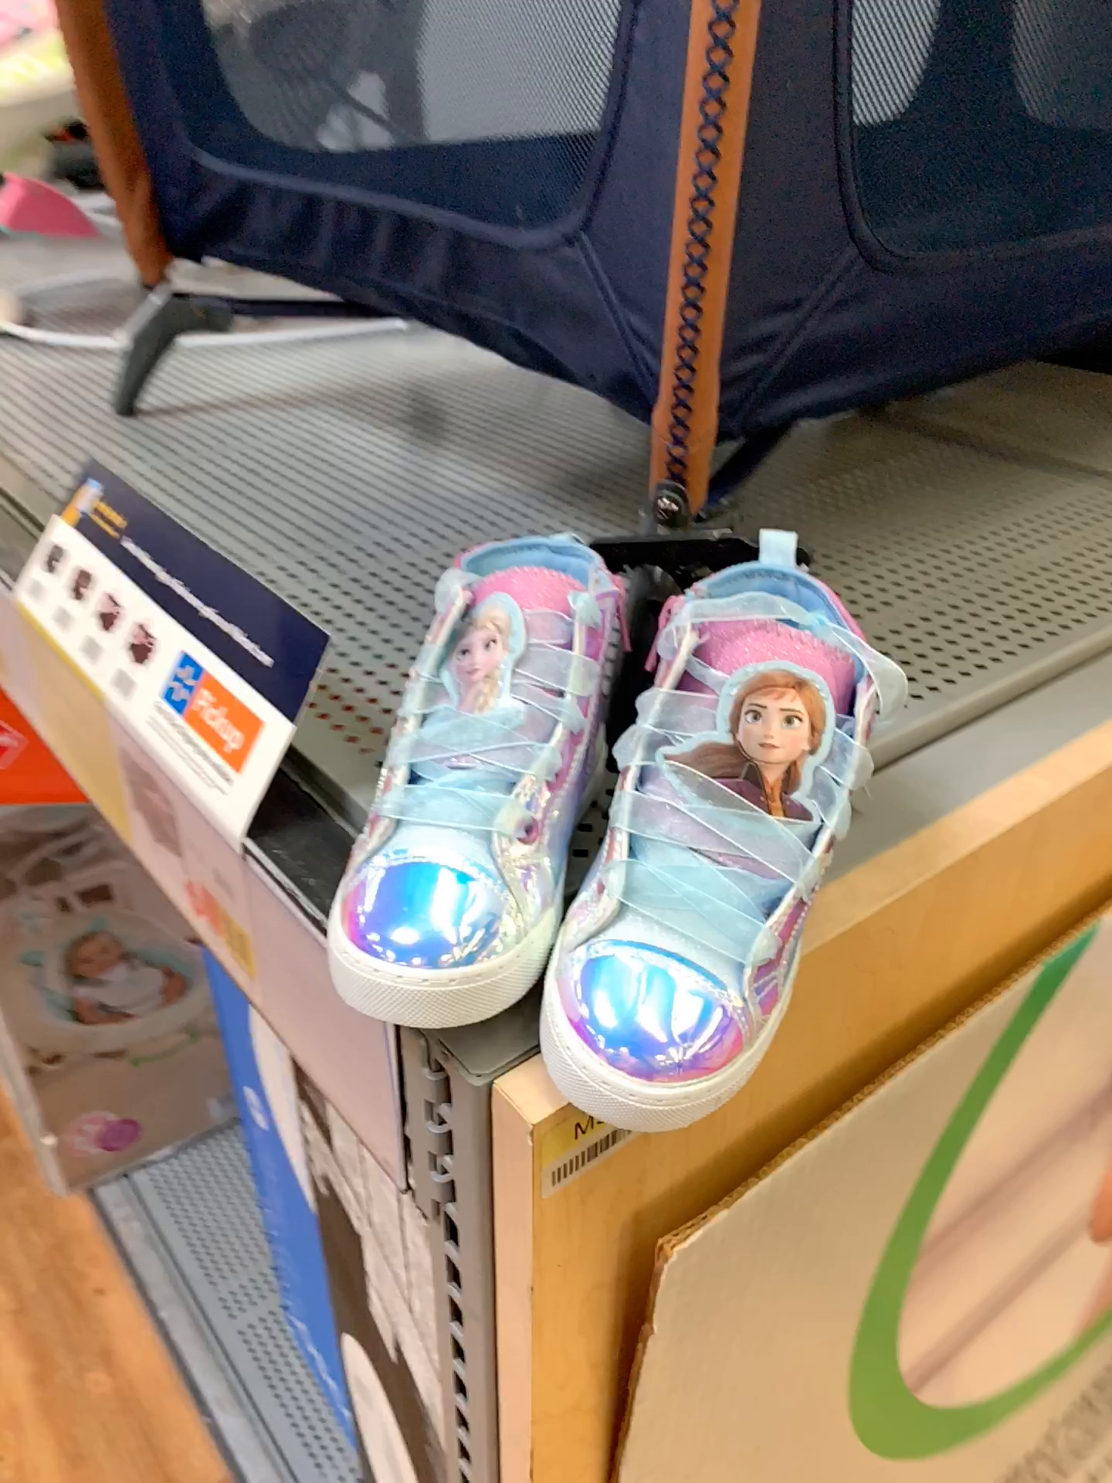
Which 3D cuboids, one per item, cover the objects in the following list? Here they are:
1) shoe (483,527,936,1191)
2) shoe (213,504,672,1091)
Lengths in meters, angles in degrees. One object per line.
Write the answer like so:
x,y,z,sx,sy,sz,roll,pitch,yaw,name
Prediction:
0.056,0.021,0.364,0.089,0.102,0.183,16,35,12,shoe
-0.024,0.004,0.387,0.079,0.102,0.183,10,33,15,shoe
